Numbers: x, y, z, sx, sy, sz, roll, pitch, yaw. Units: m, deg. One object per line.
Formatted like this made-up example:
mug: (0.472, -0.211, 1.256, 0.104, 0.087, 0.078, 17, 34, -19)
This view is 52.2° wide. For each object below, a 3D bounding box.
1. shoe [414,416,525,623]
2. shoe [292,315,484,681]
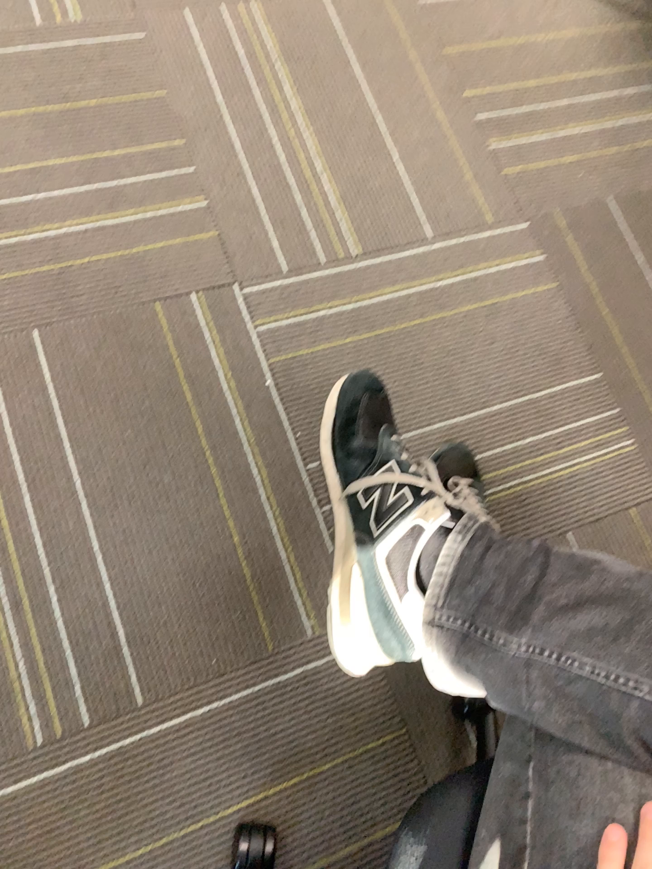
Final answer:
shoe: (0.220, 0.139, 1.061, 0.115, 0.133, 0.304, 4, 72, -10)
shoe: (0.059, 0.063, 0.620, 0.133, 0.115, 0.304, -7, 71, 24)
